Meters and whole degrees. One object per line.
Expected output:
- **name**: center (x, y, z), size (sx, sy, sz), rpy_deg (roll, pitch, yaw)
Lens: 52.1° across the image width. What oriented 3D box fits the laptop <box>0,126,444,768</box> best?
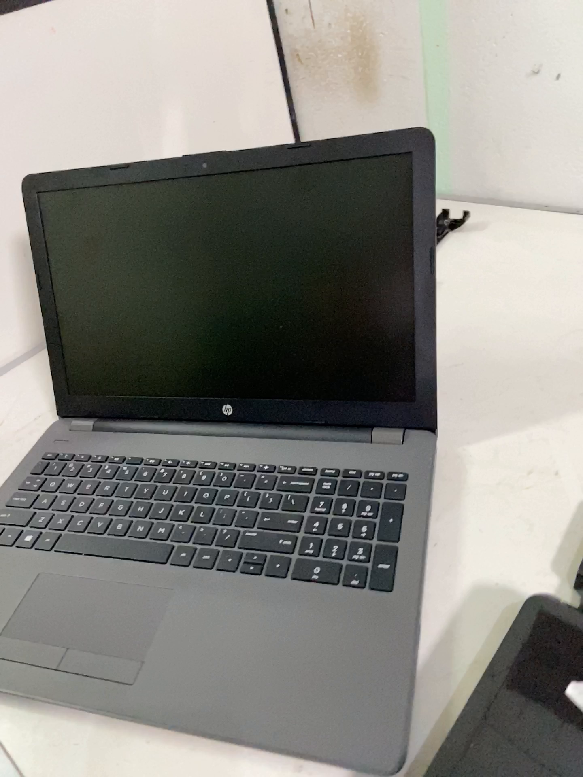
- **laptop**: center (-0.099, -0.001, 0.443), size (0.380, 0.206, 0.366), rpy_deg (0, 41, 19)
